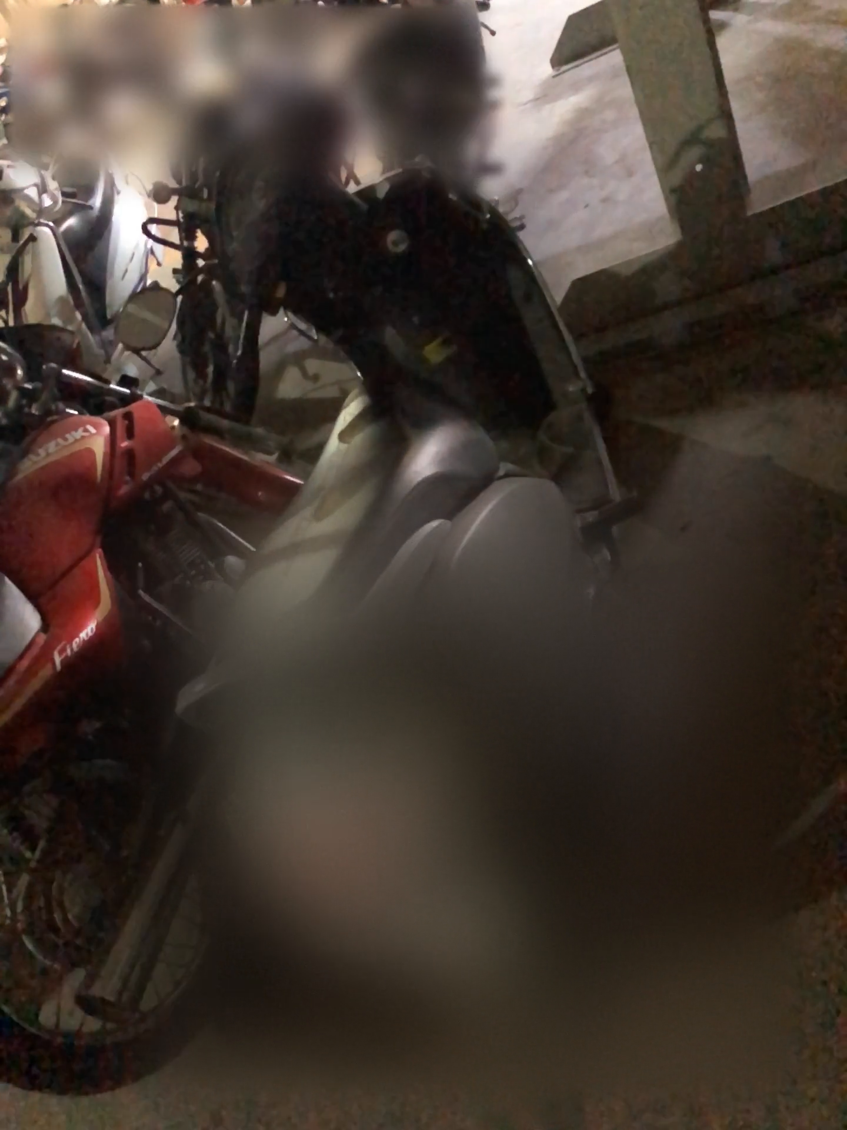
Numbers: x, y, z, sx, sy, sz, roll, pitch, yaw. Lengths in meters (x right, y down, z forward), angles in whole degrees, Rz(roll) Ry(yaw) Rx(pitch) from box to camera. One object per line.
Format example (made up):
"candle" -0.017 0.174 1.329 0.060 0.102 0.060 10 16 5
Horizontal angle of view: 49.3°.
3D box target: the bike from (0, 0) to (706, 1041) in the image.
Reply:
"bike" -0.044 -0.126 1.622 0.603 1.094 1.386 -17 40 20
